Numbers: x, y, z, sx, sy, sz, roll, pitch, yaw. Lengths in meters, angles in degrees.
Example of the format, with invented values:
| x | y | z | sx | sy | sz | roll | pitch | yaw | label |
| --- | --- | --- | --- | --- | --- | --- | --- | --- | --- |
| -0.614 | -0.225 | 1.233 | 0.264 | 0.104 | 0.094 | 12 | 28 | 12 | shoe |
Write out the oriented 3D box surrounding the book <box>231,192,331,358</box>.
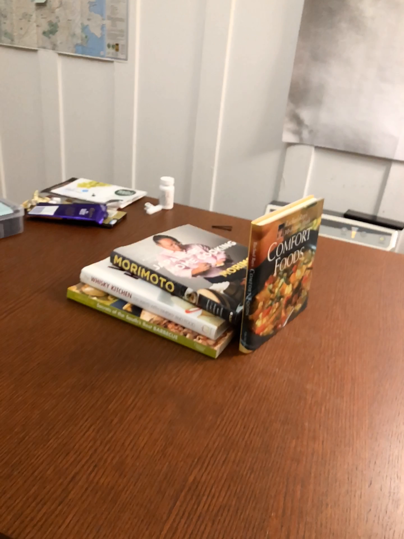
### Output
| x | y | z | sx | sy | sz | roll | pitch | yaw | label |
| --- | --- | --- | --- | --- | --- | --- | --- | --- | --- |
| 0.128 | 0.001 | 0.702 | 0.030 | 0.209 | 0.211 | 21 | 29 | 32 | book |

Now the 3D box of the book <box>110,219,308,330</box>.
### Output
| x | y | z | sx | sy | sz | roll | pitch | yaw | label |
| --- | --- | --- | --- | --- | --- | --- | --- | --- | --- |
| 0.015 | -0.010 | 0.798 | 0.280 | 0.030 | 0.221 | 24 | 32 | 28 | book |

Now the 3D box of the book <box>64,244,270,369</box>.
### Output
| x | y | z | sx | sy | sz | roll | pitch | yaw | label |
| --- | --- | --- | --- | --- | --- | --- | --- | --- | --- |
| -0.053 | 0.045 | 0.771 | 0.280 | 0.030 | 0.221 | 19 | 30 | 22 | book |

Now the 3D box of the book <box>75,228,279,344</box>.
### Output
| x | y | z | sx | sy | sz | roll | pitch | yaw | label |
| --- | --- | --- | --- | --- | --- | --- | --- | --- | --- |
| -0.038 | 0.011 | 0.781 | 0.280 | 0.030 | 0.221 | 21 | 30 | 24 | book |
